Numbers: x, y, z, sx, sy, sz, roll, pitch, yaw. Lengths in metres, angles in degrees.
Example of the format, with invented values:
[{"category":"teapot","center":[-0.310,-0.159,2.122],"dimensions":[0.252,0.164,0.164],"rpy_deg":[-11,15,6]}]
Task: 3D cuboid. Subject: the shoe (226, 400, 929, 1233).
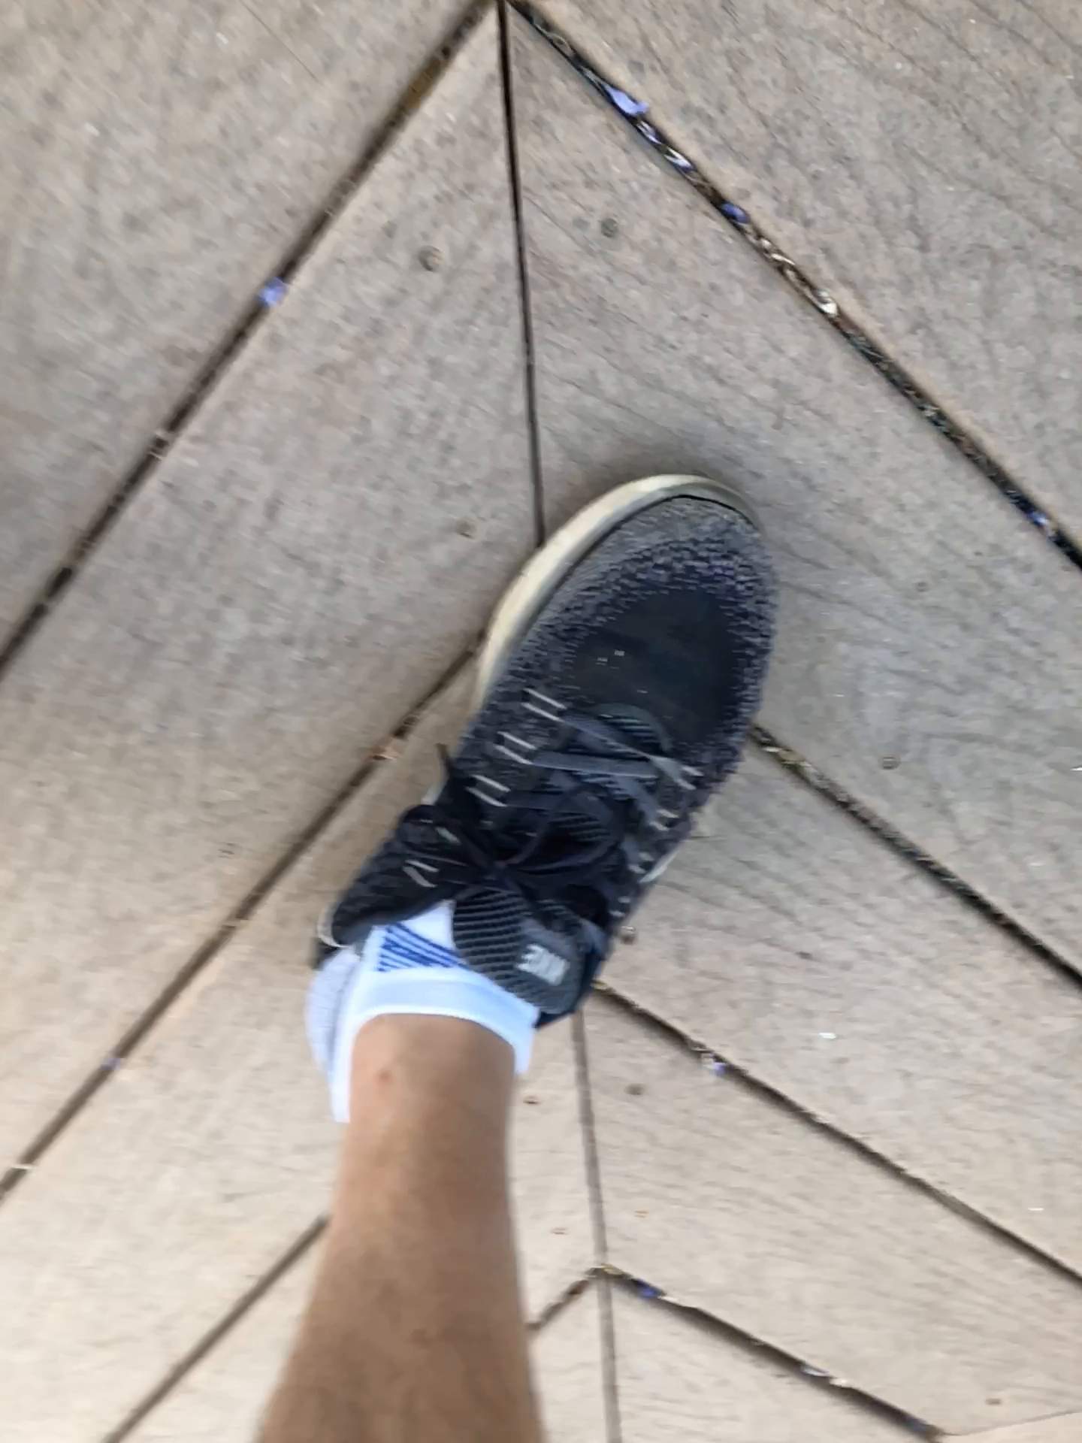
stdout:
[{"category":"shoe","center":[0.001,0.042,0.484],"dimensions":[0.130,0.100,0.300],"rpy_deg":[26,105,-18]}]
